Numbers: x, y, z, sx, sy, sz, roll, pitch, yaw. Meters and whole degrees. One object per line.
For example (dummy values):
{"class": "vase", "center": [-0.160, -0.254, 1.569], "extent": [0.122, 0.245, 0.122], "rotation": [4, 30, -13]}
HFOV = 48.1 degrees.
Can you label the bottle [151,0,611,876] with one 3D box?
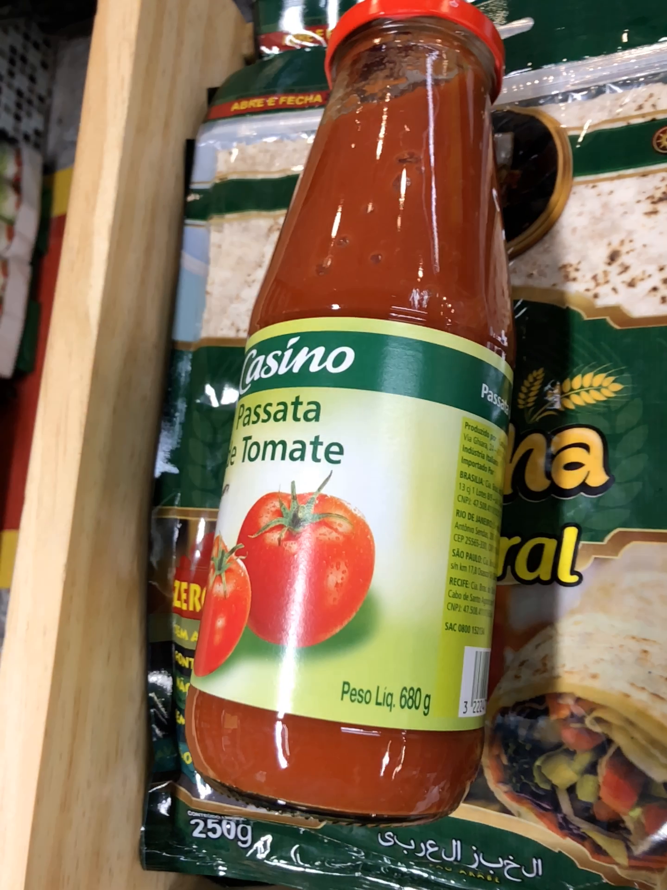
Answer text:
{"class": "bottle", "center": [0.019, -0.023, 0.211], "extent": [0.070, 0.080, 0.230], "rotation": [-5, 75, 49]}
